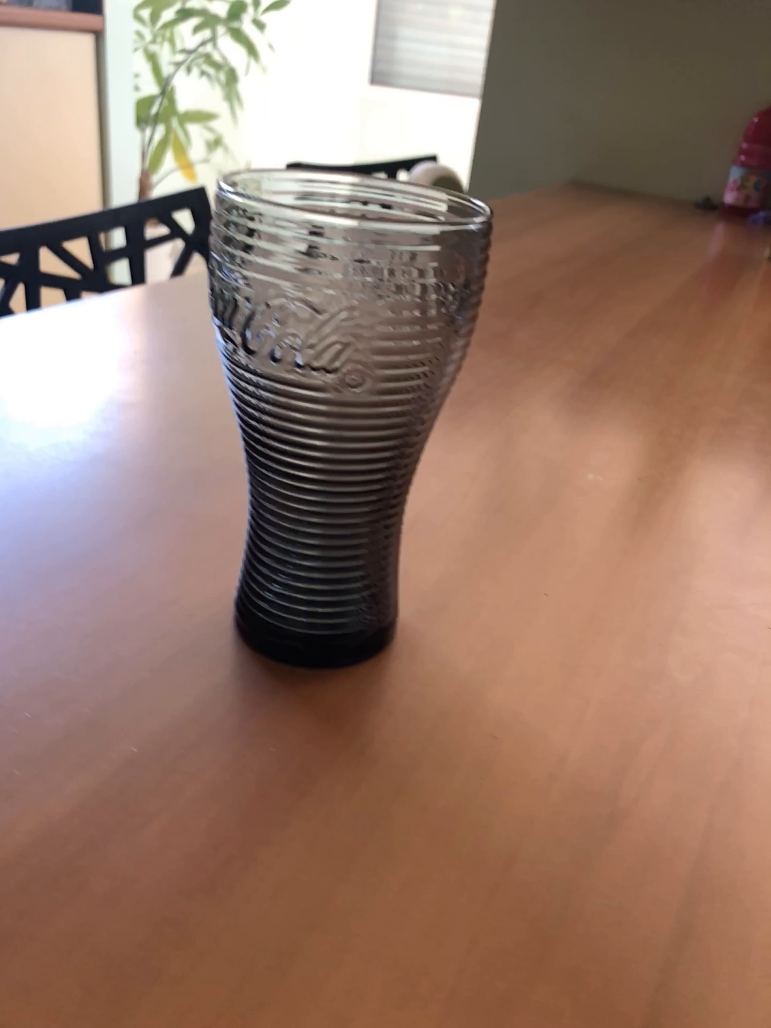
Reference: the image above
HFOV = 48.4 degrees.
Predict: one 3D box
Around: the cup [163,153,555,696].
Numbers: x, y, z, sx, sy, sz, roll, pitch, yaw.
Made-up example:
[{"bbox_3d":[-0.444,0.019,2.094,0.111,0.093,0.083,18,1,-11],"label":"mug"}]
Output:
[{"bbox_3d":[-0.018,-0.029,0.255,0.080,0.129,0.080,6,28,-3],"label":"cup"}]
